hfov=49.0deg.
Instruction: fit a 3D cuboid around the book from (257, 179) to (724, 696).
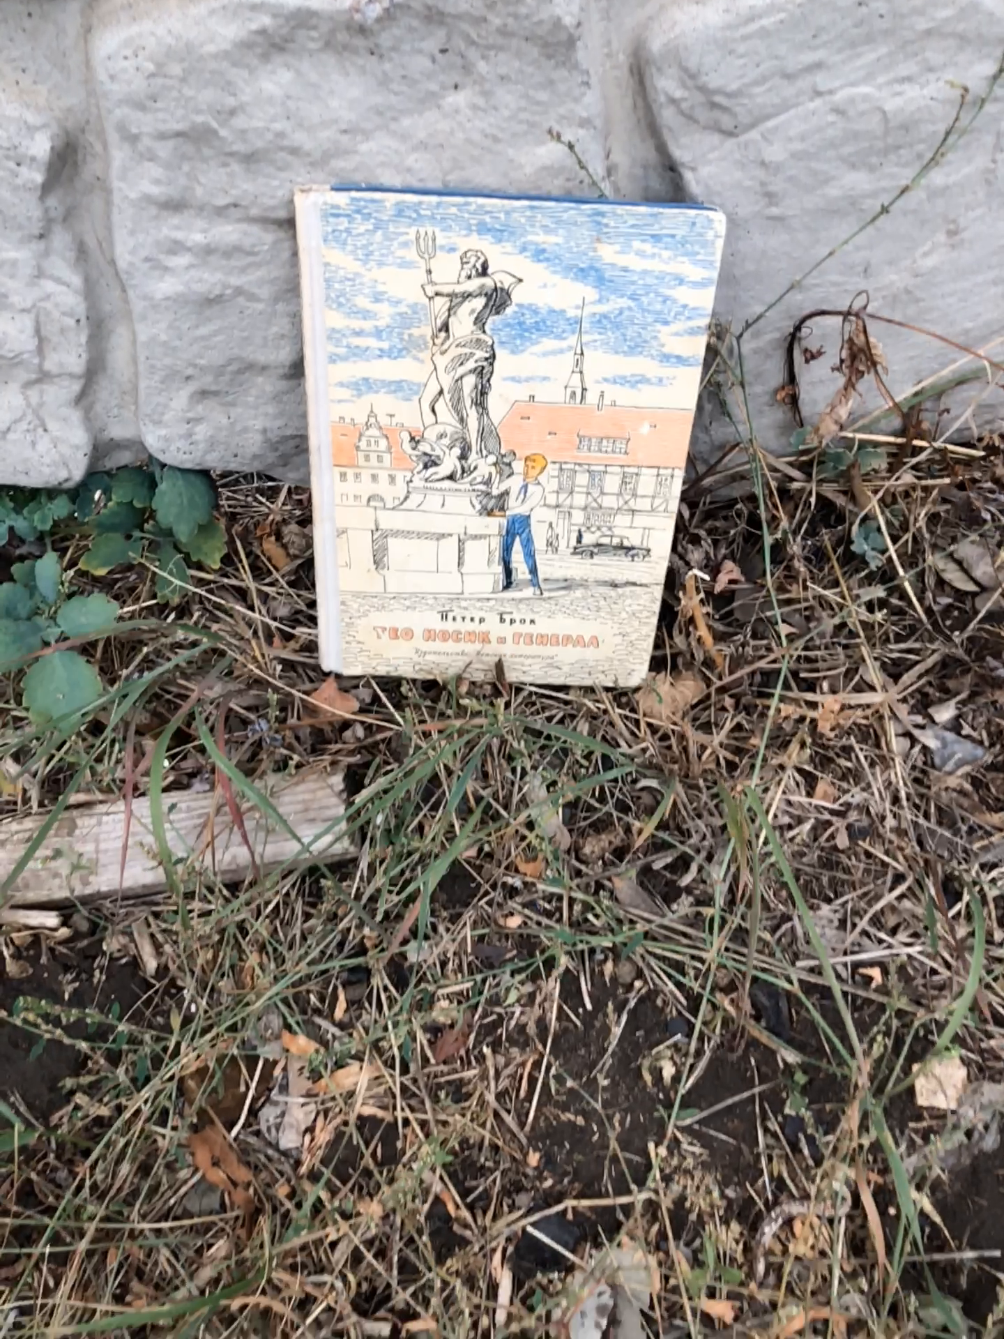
[{"bbox_3d":[-0.003,-0.078,0.421,0.150,0.199,0.020,3,38,5],"label":"book"}]
